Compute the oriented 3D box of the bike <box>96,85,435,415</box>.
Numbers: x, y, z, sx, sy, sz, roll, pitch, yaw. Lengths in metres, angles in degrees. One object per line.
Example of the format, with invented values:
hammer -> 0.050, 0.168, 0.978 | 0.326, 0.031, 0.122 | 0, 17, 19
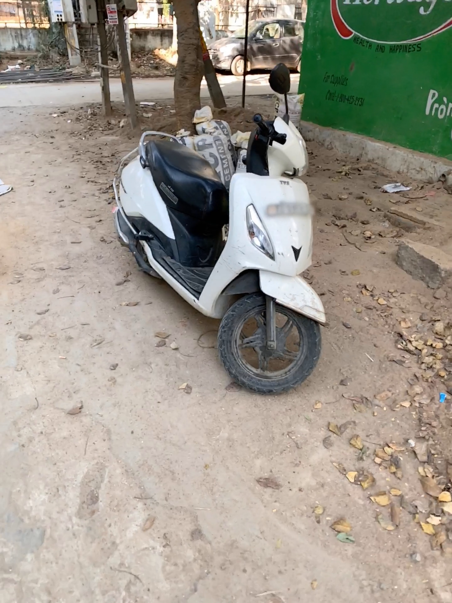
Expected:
bike -> 0.064, -0.400, 2.323 | 0.687, 1.066, 1.464 | -22, 39, -35
